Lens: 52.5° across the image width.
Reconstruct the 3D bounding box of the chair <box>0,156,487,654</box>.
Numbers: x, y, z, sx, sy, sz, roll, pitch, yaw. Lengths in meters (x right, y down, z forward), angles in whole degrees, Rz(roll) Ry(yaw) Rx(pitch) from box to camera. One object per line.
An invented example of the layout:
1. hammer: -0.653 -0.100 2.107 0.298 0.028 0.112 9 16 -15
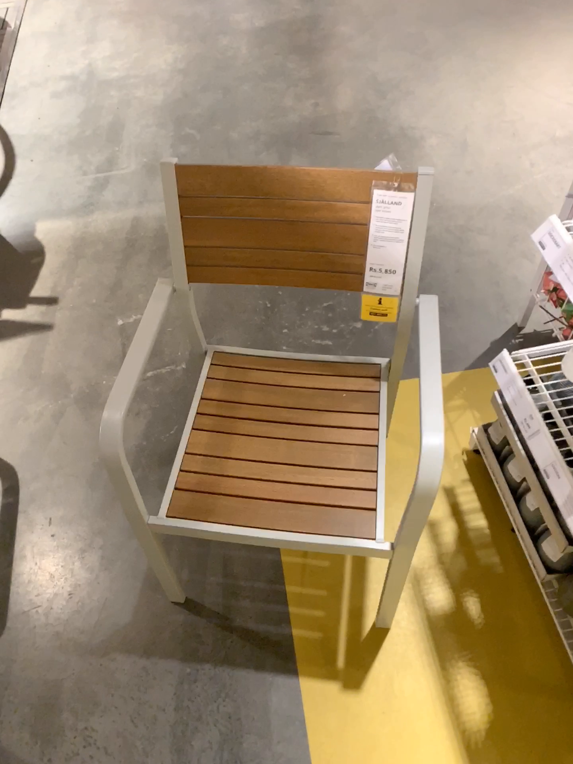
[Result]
1. chair: -0.002 0.081 1.114 0.560 0.728 0.601 5 55 8
